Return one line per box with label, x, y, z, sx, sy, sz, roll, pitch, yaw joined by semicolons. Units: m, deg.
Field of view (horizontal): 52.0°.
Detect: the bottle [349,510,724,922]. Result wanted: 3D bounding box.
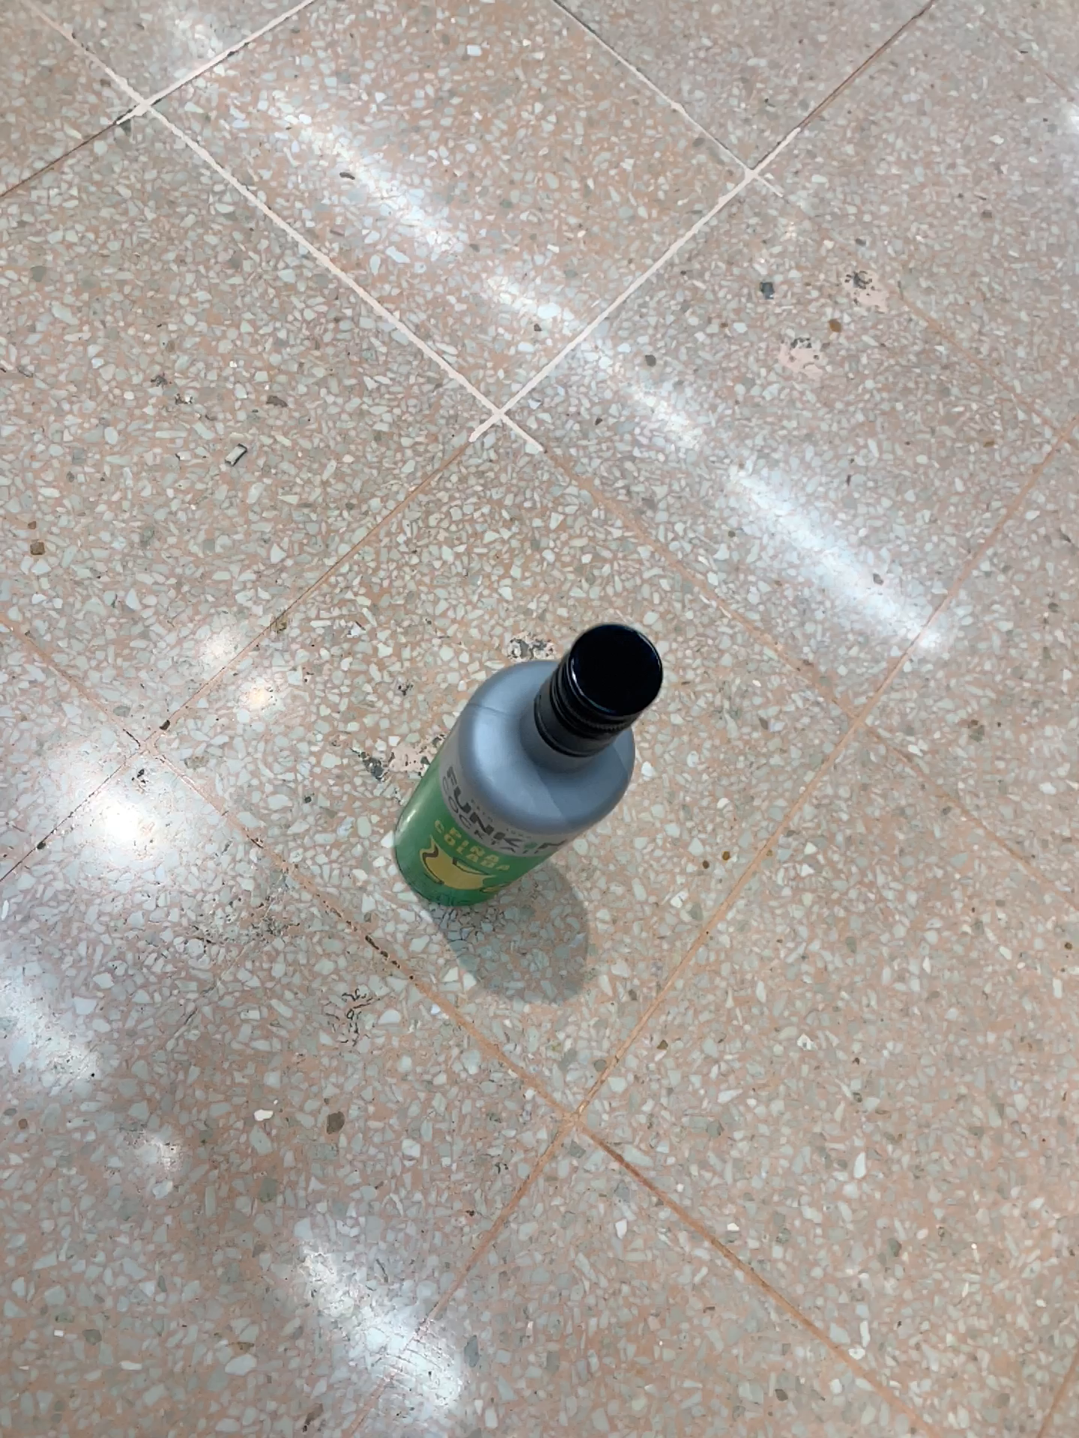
bottle;-0.022;0.021;0.479;0.073;0.286;0.067;4;72;-13
